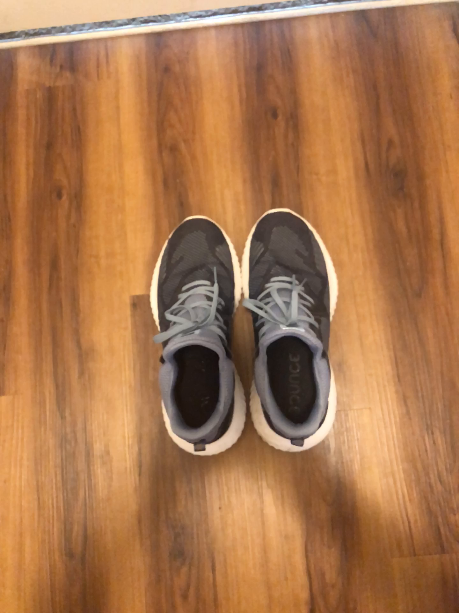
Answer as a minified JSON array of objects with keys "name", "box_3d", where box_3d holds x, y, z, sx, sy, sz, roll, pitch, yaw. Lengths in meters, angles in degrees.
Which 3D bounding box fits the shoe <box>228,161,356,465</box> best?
[{"name":"shoe","box_3d":[0.070,0.010,0.620,0.131,0.131,0.334,0,79,4]}]

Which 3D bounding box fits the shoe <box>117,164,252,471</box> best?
[{"name":"shoe","box_3d":[-0.051,0.016,0.628,0.133,0.135,0.333,-4,79,3]}]
